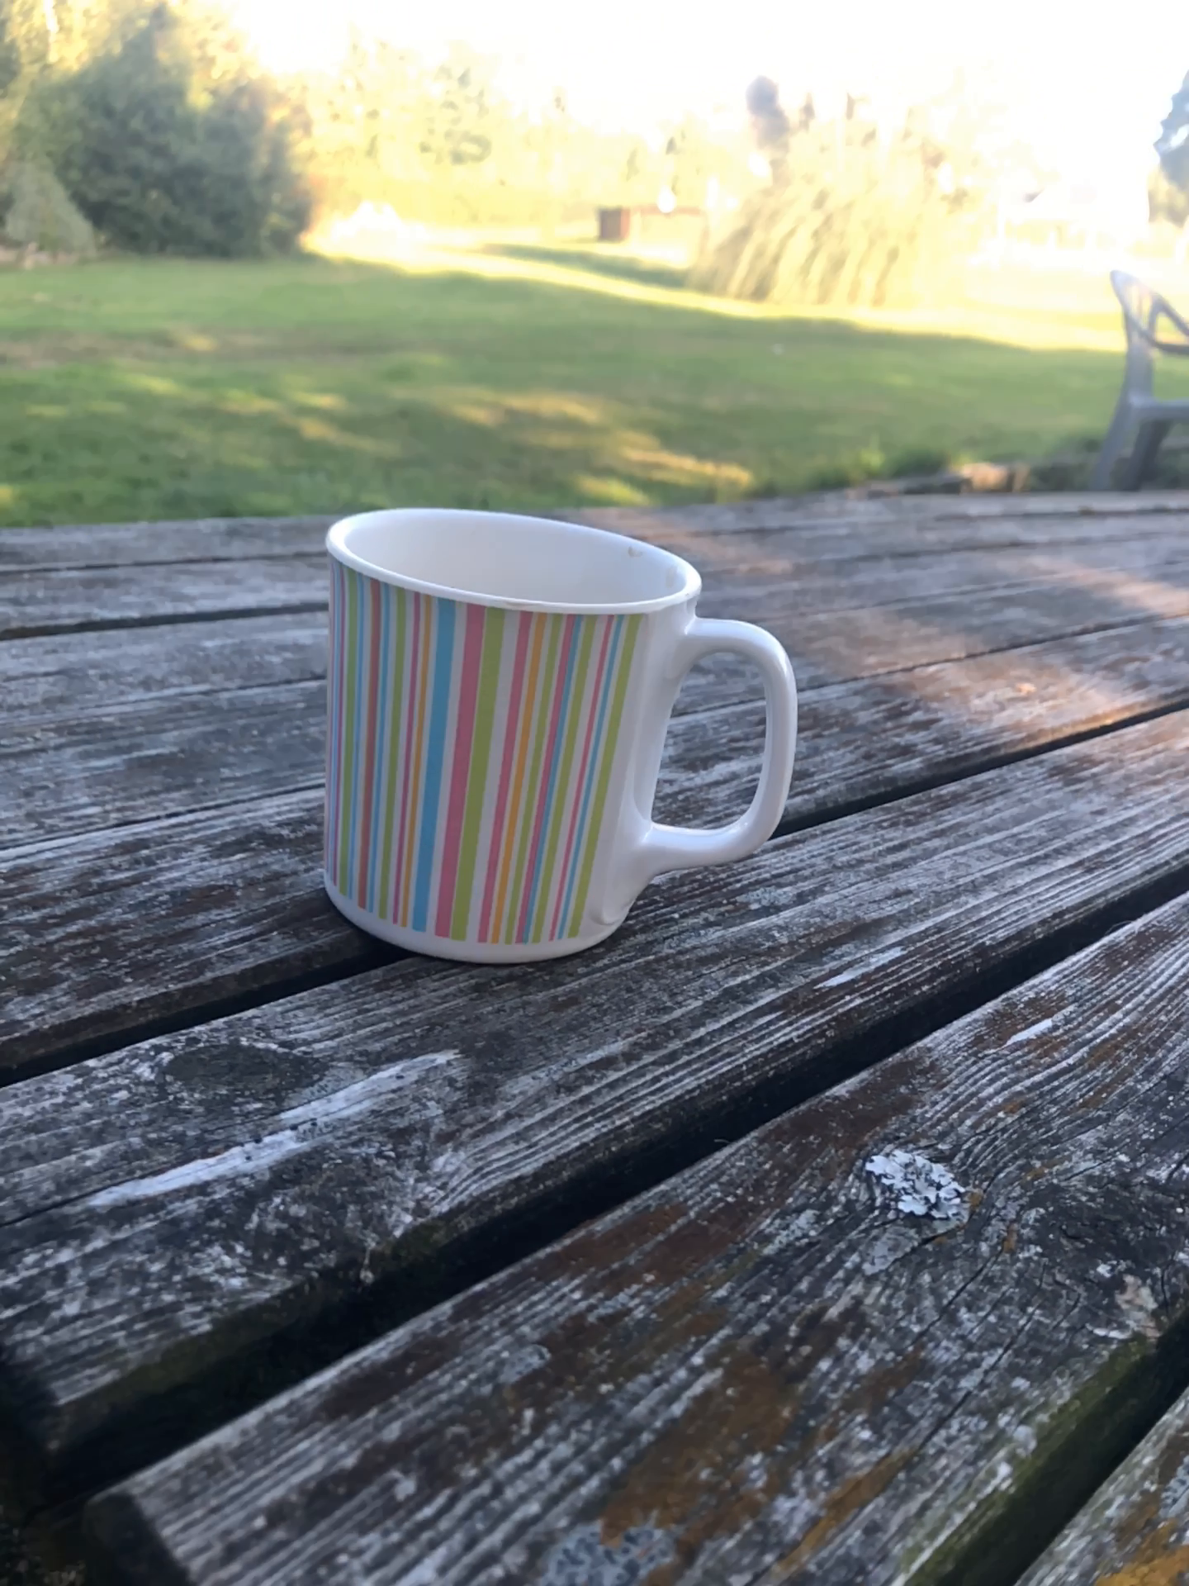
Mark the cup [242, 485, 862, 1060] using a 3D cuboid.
[{"bbox_3d":[-0.008,-0.013,0.346,0.133,0.096,0.099,12,25,8],"label":"cup"}]
